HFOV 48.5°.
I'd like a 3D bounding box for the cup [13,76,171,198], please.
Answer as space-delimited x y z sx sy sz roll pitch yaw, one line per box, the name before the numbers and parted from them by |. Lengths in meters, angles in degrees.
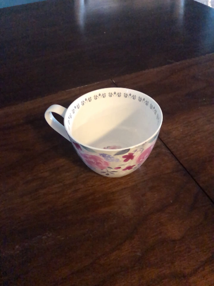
cup | -0.011 -0.017 0.315 0.160 0.070 0.120 12 47 15
